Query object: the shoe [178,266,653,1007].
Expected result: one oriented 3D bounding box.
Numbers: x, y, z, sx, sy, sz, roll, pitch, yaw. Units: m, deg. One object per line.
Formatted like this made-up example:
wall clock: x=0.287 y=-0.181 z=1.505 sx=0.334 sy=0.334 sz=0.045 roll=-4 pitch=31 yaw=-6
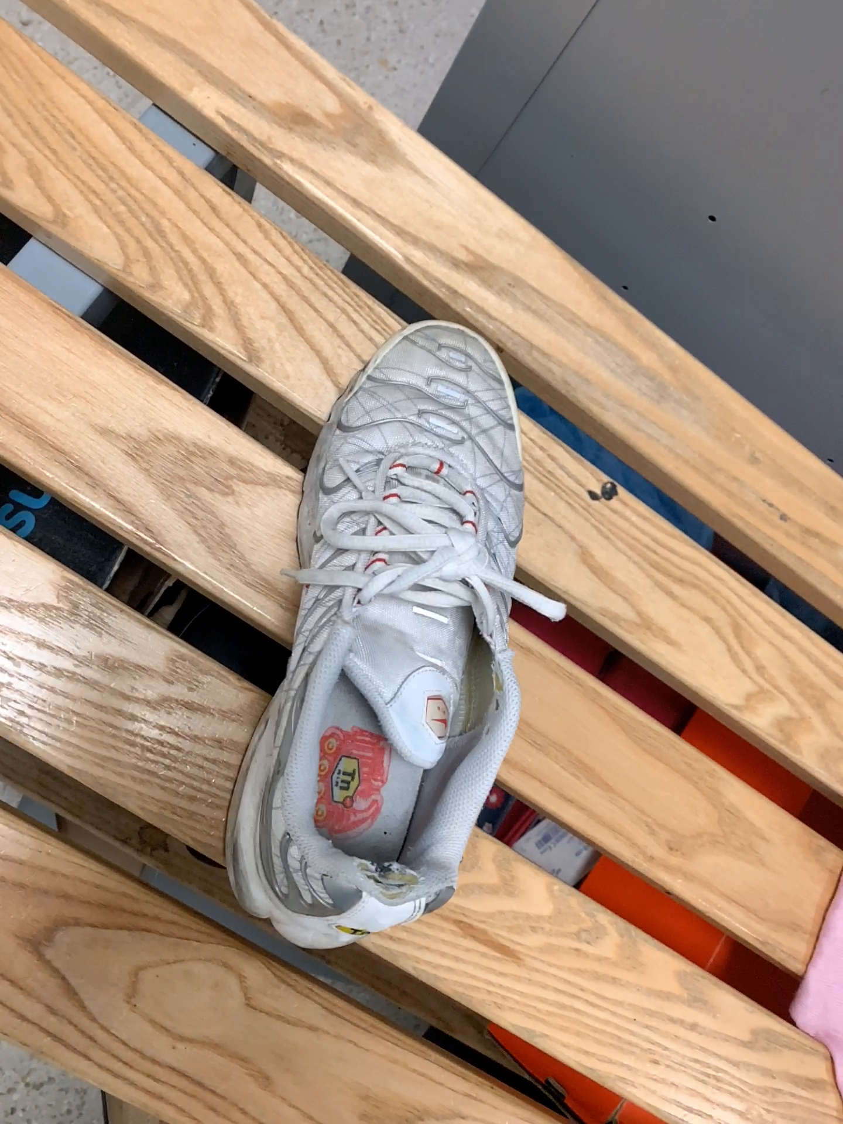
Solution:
shoe: x=-0.004 y=0.026 z=0.337 sx=0.100 sy=0.105 sz=0.227 roll=20 pitch=75 yaw=-16
